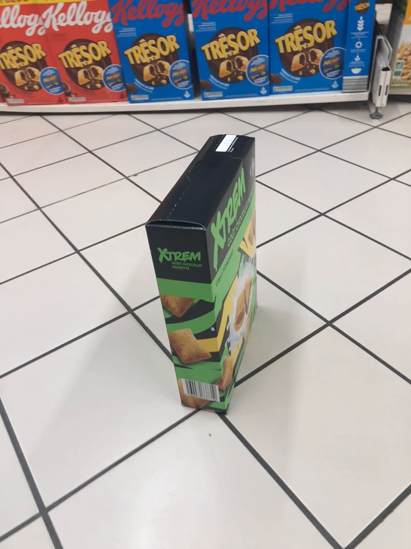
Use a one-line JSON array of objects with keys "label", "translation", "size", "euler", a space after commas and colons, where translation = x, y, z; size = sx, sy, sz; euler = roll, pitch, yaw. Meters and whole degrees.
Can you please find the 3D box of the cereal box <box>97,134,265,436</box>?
[{"label": "cereal box", "translation": [-0.001, 0.007, 0.481], "size": [0.090, 0.238, 0.201], "euler": [7, 39, 16]}]
